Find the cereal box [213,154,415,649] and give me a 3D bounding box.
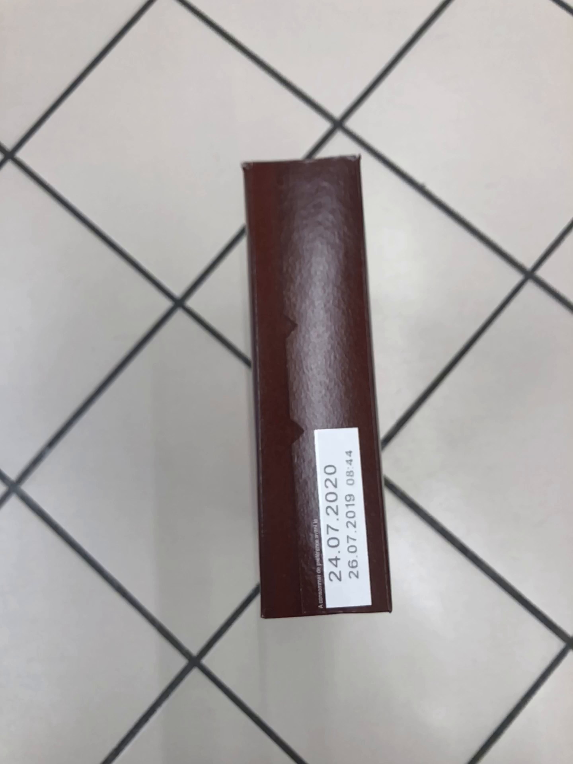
[{"bbox_3d":[0.016,0.018,0.383,0.070,0.240,0.200,-4,83,3],"label":"cereal box"}]
